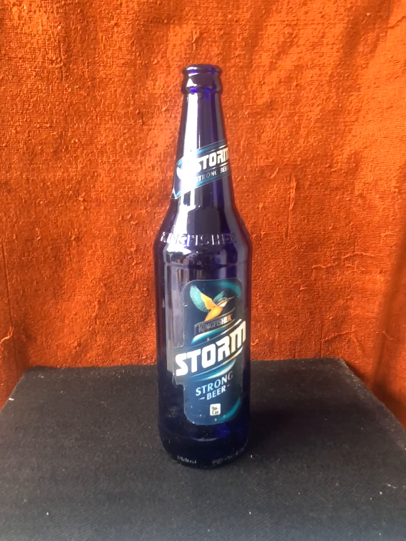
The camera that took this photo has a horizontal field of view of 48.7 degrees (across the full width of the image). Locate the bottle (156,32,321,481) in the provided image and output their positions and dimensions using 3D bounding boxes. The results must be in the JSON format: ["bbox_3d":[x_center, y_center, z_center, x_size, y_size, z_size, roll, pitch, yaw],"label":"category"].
[{"bbox_3d":[0.014,-0.003,0.318,0.080,0.279,0.080,2,15,-1],"label":"bottle"}]
